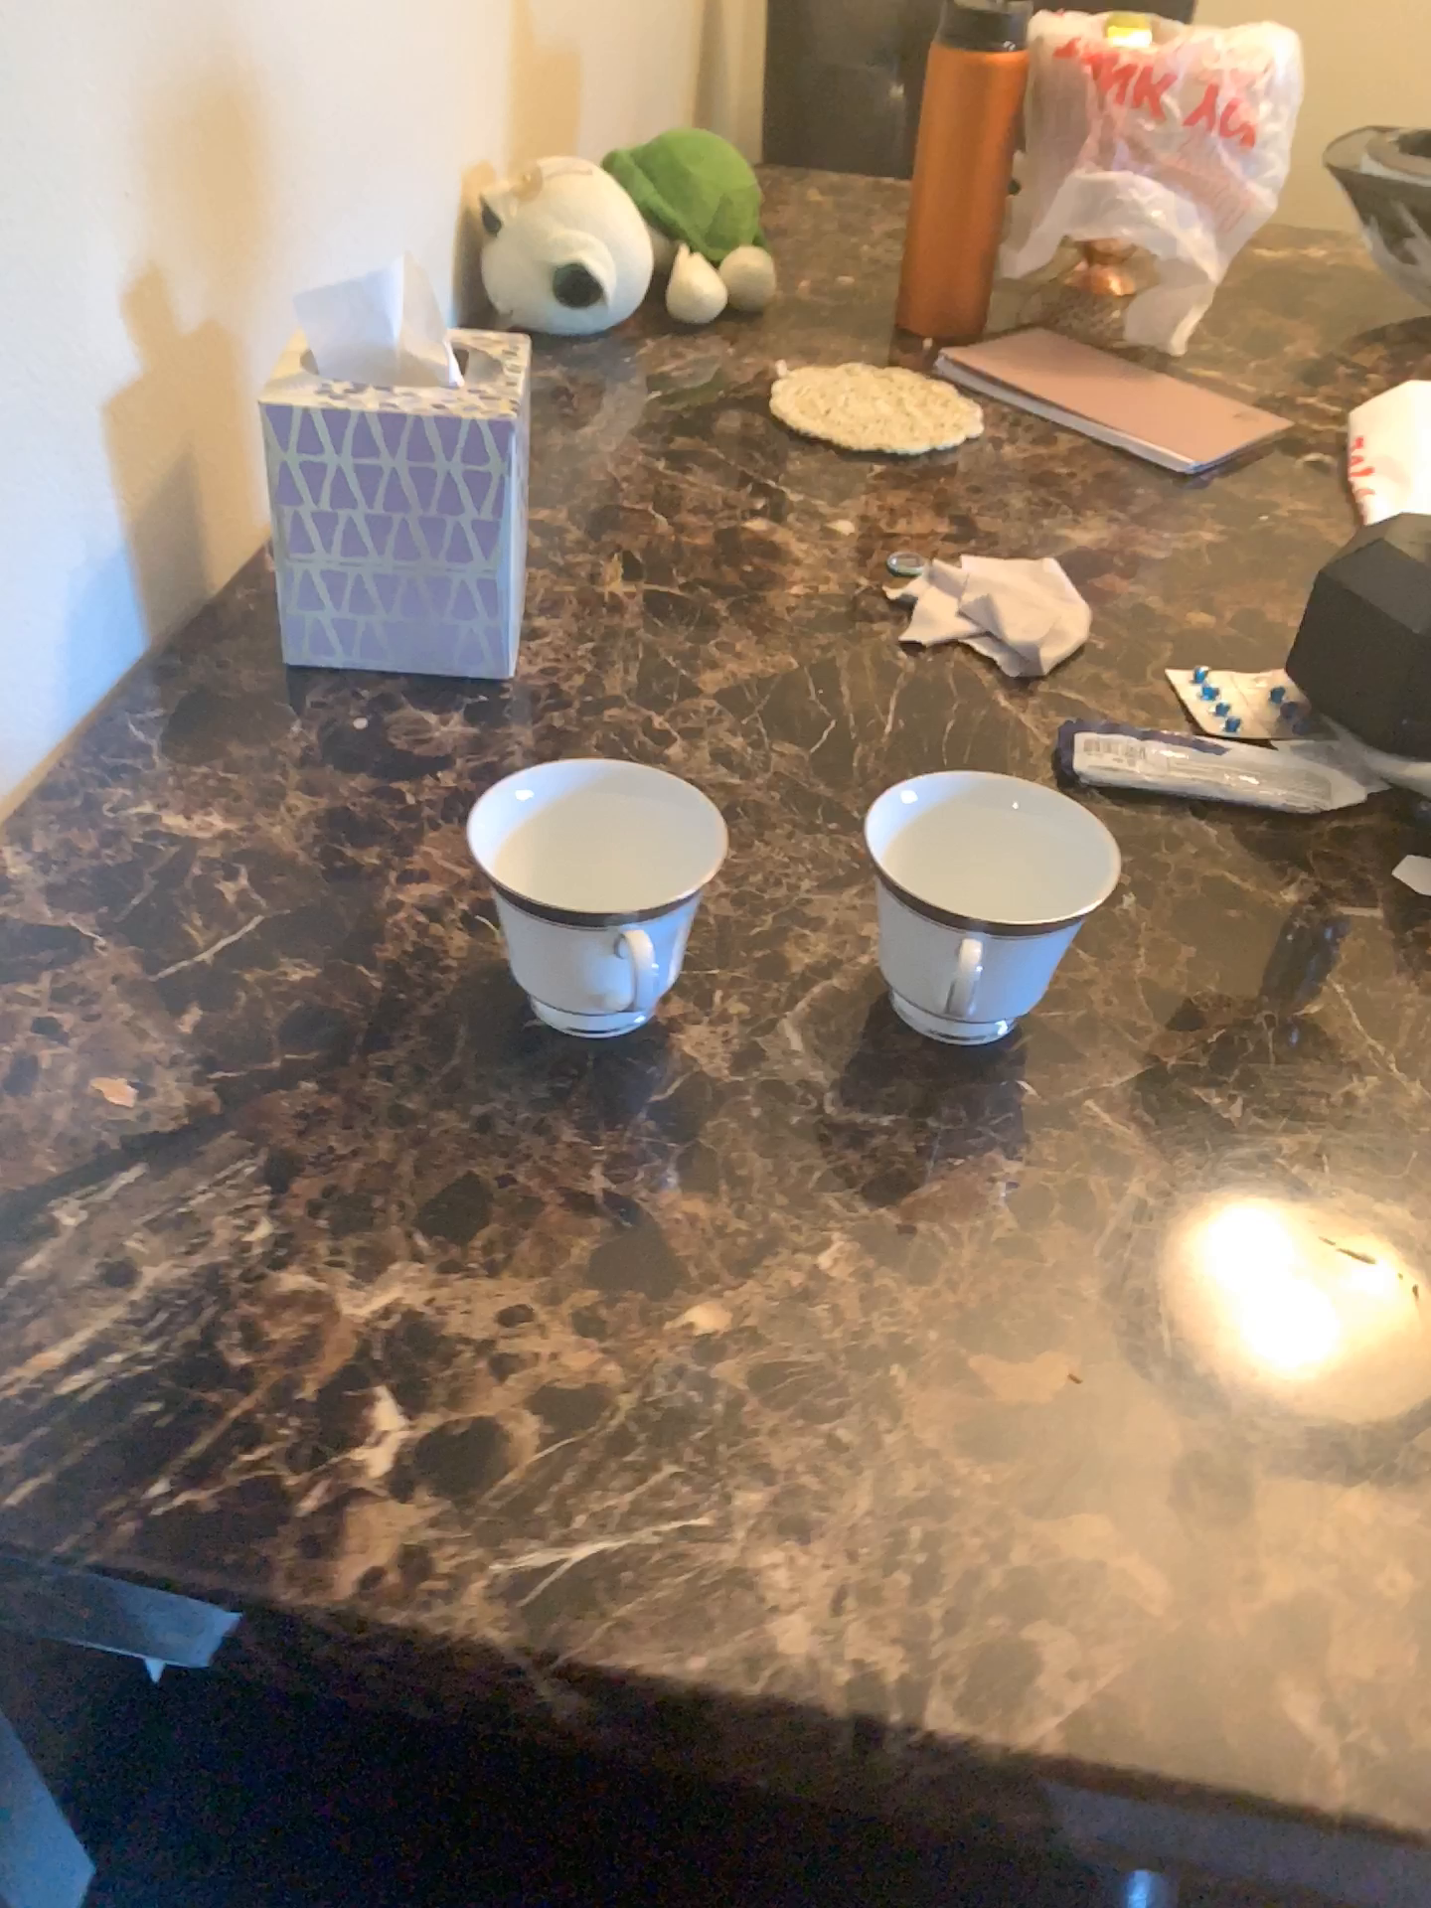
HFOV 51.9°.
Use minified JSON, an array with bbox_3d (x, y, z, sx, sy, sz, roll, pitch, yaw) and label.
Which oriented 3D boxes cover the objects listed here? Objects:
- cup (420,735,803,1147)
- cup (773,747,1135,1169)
[{"bbox_3d":[-0.039,-0.009,0.501,0.090,0.070,0.111,-14,44,-21],"label":"cup"},{"bbox_3d":[0.086,-0.003,0.522,0.090,0.070,0.121,17,42,13],"label":"cup"}]
